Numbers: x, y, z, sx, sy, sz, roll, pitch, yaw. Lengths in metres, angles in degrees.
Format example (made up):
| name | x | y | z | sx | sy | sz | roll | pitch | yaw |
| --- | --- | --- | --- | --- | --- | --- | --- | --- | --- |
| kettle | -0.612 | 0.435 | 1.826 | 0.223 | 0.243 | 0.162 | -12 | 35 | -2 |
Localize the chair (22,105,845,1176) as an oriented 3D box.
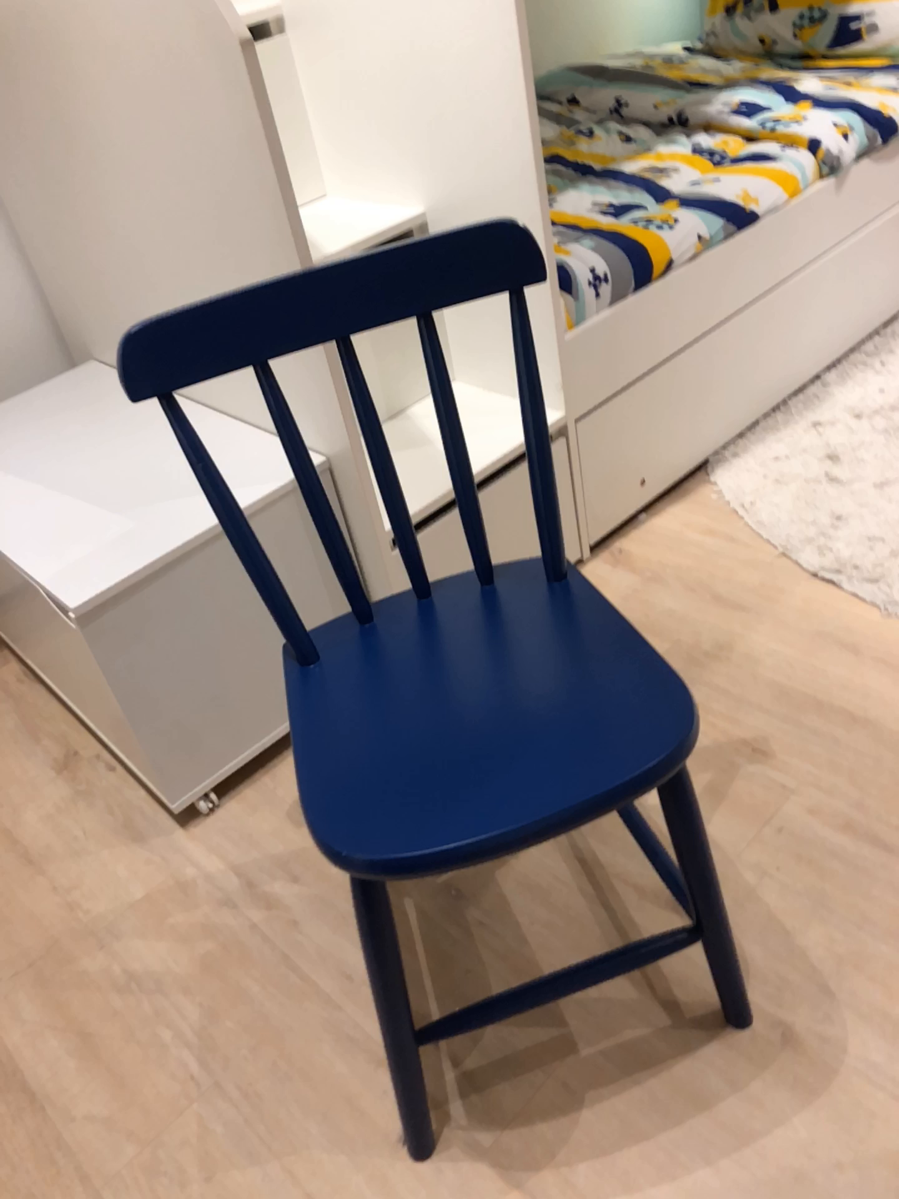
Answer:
| name | x | y | z | sx | sy | sz | roll | pitch | yaw |
| --- | --- | --- | --- | --- | --- | --- | --- | --- | --- |
| chair | 0.014 | 0.048 | 0.950 | 0.460 | 0.803 | 0.484 | -18 | 36 | -6 |
